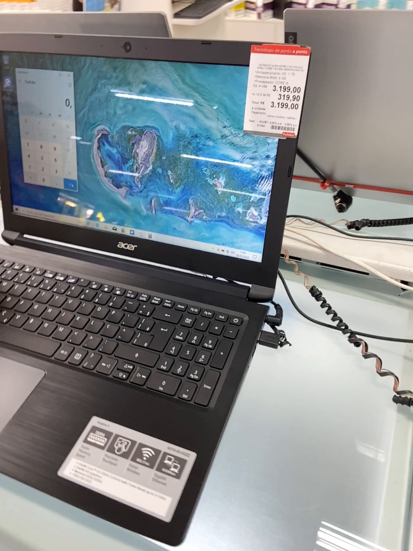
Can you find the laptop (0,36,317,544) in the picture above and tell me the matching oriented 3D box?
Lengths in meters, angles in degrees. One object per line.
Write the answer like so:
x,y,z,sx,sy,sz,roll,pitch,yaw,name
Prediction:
-0.134,-0.047,0.398,0.375,0.227,0.354,12,46,19,laptop
